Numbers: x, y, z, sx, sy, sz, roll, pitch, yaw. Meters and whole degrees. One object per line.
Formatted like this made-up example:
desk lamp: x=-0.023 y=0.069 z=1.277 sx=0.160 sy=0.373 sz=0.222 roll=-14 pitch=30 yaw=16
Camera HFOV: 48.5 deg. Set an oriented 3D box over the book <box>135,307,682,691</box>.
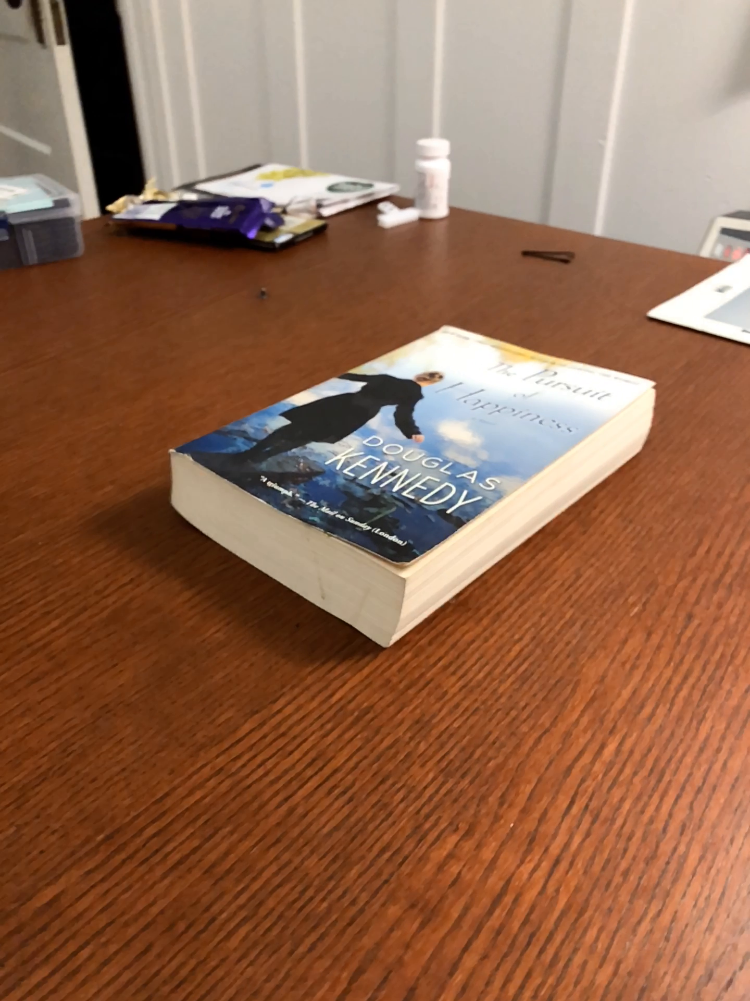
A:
book: x=0.028 y=-0.025 z=0.432 sx=0.160 sy=0.050 sz=0.241 roll=25 pitch=41 yaw=33
